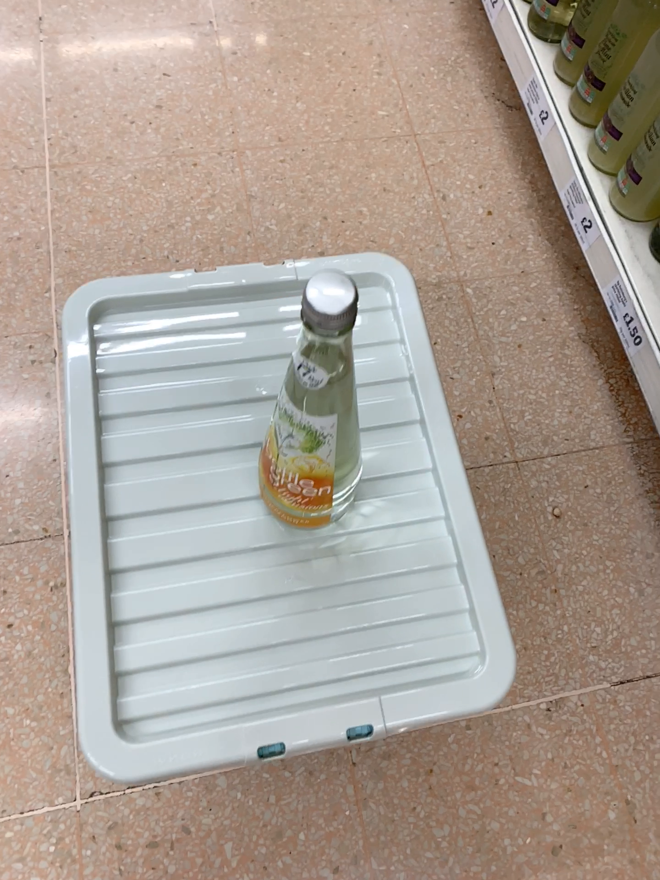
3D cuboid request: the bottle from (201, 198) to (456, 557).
[{"bbox_3d":[-0.010,-0.013,0.459,0.090,0.289,0.090,2,68,-4],"label":"bottle"}]
